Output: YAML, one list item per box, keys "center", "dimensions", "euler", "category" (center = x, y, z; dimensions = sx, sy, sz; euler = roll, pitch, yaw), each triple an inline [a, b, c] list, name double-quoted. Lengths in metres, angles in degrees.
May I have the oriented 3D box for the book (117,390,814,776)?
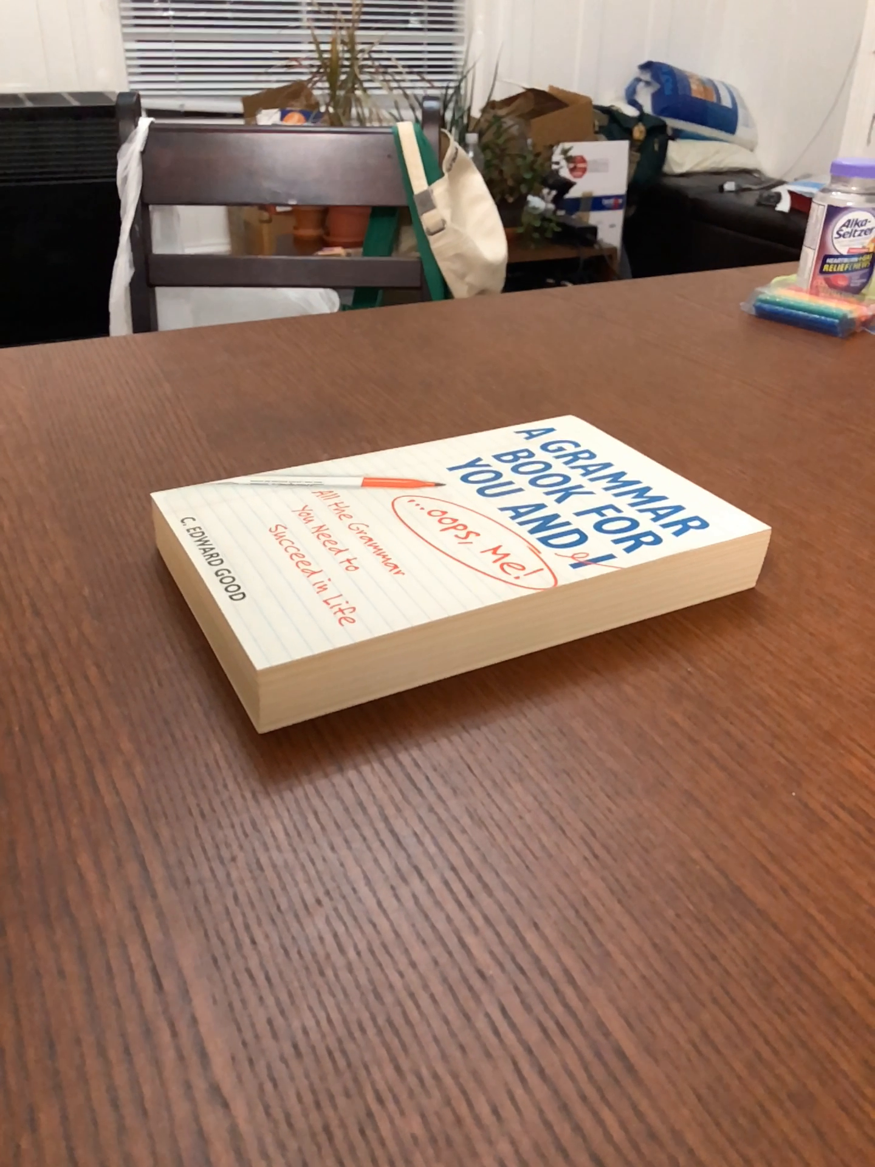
- center: [0.005, -0.021, 0.414]
  dimensions: [0.240, 0.040, 0.171]
  euler: [-14, 34, -23]
  category: "book"
